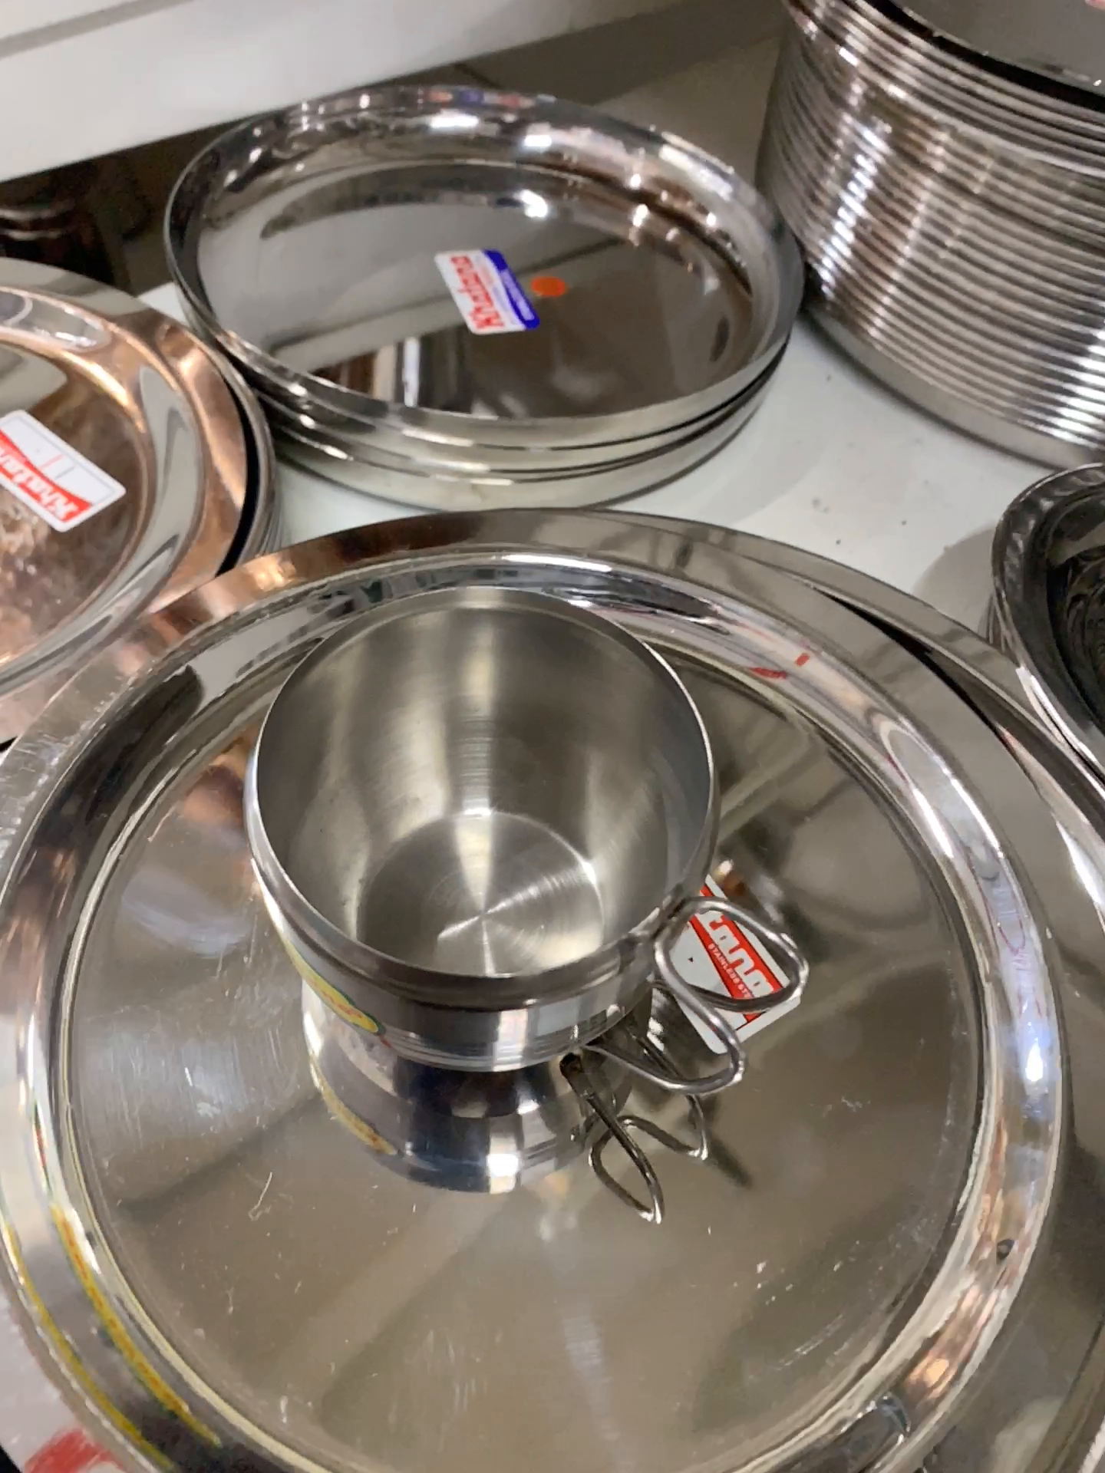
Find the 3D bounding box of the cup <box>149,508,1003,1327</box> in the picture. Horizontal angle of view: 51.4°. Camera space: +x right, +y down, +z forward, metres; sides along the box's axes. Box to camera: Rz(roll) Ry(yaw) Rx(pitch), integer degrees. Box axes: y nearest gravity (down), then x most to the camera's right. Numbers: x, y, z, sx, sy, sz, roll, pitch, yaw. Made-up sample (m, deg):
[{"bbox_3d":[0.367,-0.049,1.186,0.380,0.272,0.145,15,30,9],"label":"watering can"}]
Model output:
[{"bbox_3d":[0.002,0.021,0.169,0.090,0.040,0.070,37,60,21],"label":"cup"}]
